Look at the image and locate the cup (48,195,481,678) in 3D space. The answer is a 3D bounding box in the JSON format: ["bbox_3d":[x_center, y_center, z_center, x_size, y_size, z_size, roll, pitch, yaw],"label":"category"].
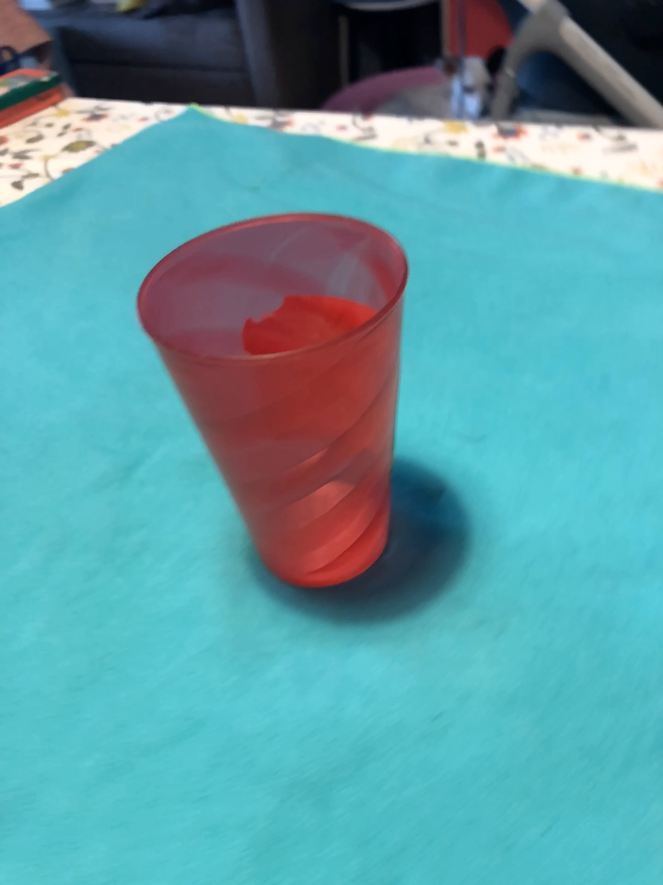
[{"bbox_3d":[-0.011,-0.005,0.249,0.090,0.109,0.090,-5,43,4],"label":"cup"}]
